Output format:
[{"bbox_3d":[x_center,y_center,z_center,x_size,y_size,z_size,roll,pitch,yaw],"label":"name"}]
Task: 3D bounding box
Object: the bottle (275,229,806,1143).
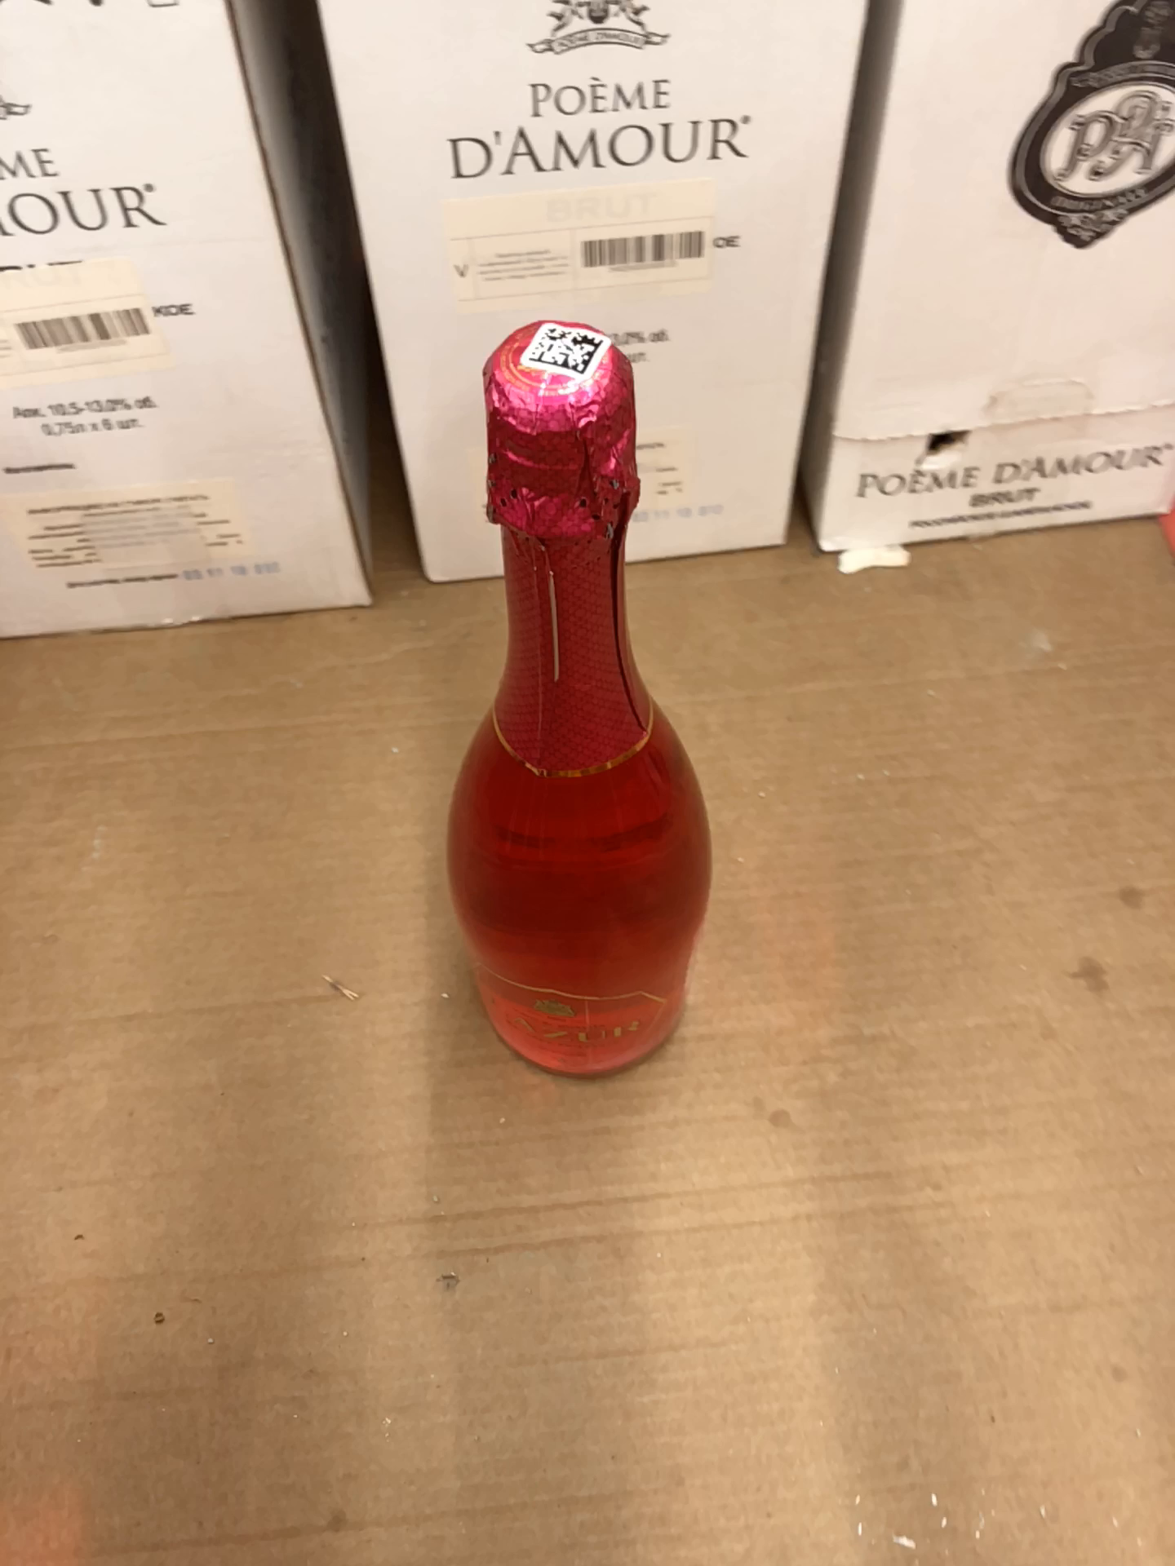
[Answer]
[{"bbox_3d":[-0.005,0.007,0.399,0.090,0.320,0.090,0,57,0],"label":"bottle"}]
